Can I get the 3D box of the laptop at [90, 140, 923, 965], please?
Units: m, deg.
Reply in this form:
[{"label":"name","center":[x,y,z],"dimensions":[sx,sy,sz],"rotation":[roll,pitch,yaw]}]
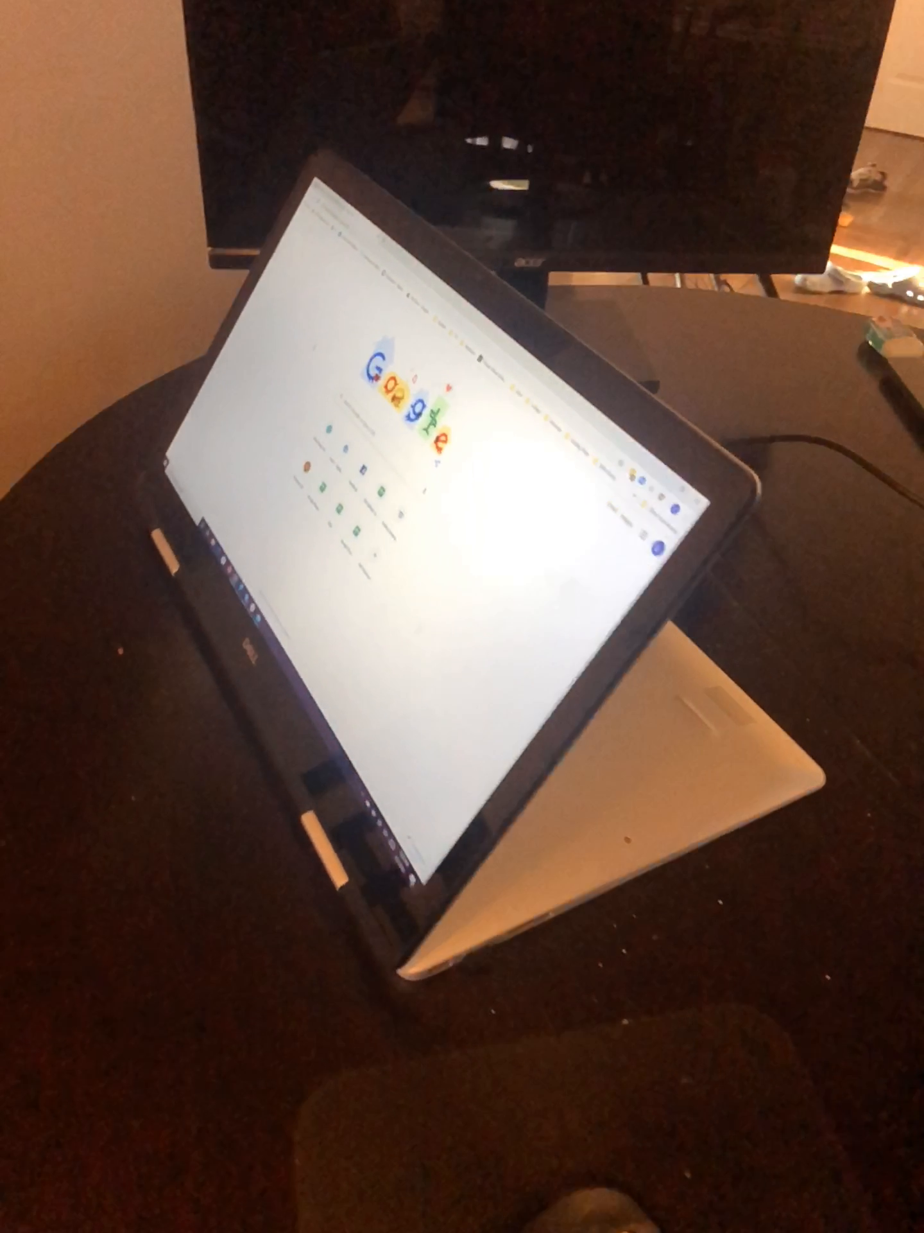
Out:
[{"label":"laptop","center":[-0.005,-0.082,0.588],"dimensions":[0.267,0.232,0.420],"rotation":[-16,44,-23]}]
